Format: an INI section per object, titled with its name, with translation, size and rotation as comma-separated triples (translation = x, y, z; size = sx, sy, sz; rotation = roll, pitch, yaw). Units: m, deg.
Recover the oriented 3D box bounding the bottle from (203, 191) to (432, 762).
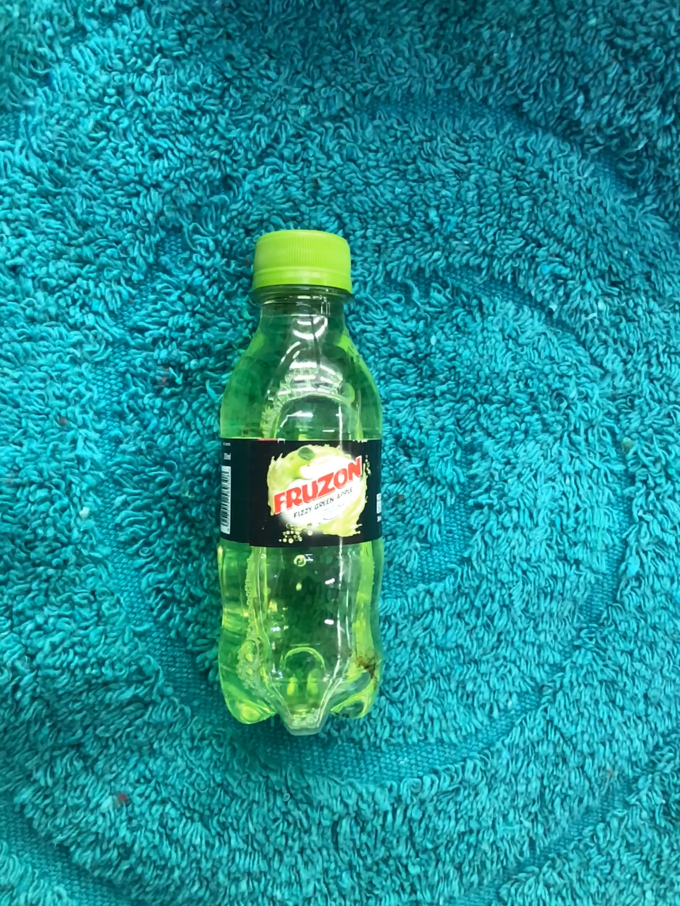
[bottle]
translation = -0.011, 0.007, 0.243
size = 0.060, 0.050, 0.160
rotation = 1, 94, -14
